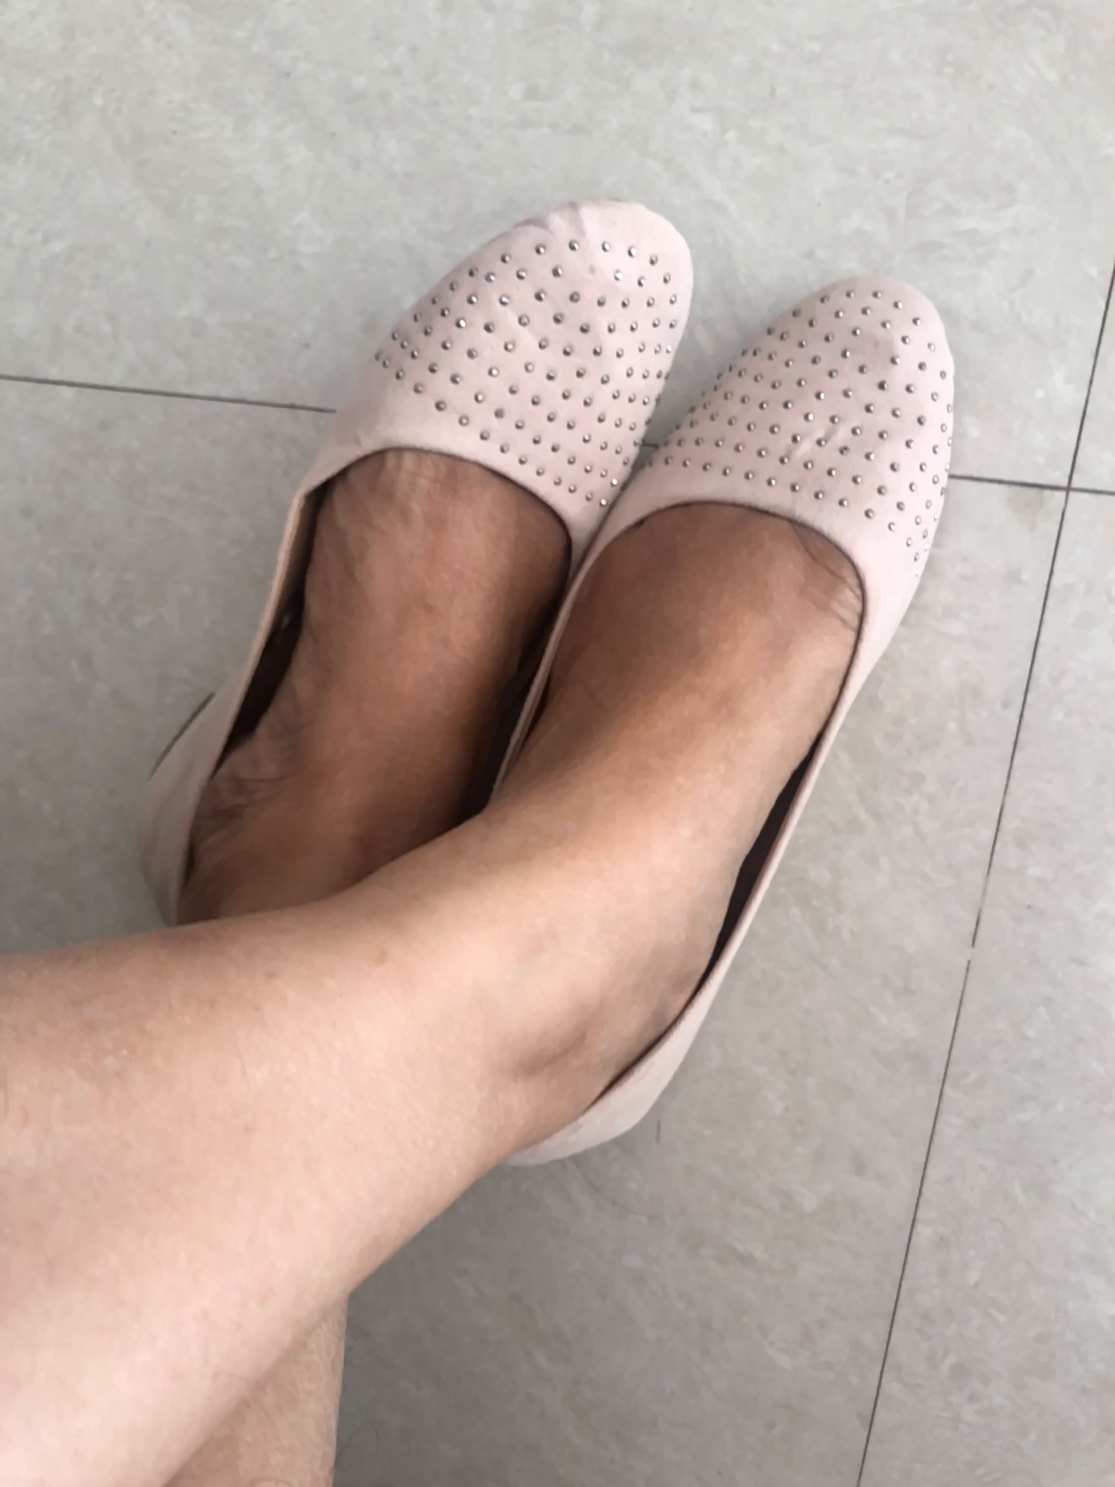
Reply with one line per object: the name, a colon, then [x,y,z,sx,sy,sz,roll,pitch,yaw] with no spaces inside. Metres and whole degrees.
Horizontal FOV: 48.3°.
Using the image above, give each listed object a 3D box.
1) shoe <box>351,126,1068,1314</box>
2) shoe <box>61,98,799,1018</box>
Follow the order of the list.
shoe: [0.044,-0.009,0.336,0.100,0.080,0.270,18,93,23]
shoe: [-0.045,-0.044,0.355,0.240,0.090,0.060,-57,31,13]
